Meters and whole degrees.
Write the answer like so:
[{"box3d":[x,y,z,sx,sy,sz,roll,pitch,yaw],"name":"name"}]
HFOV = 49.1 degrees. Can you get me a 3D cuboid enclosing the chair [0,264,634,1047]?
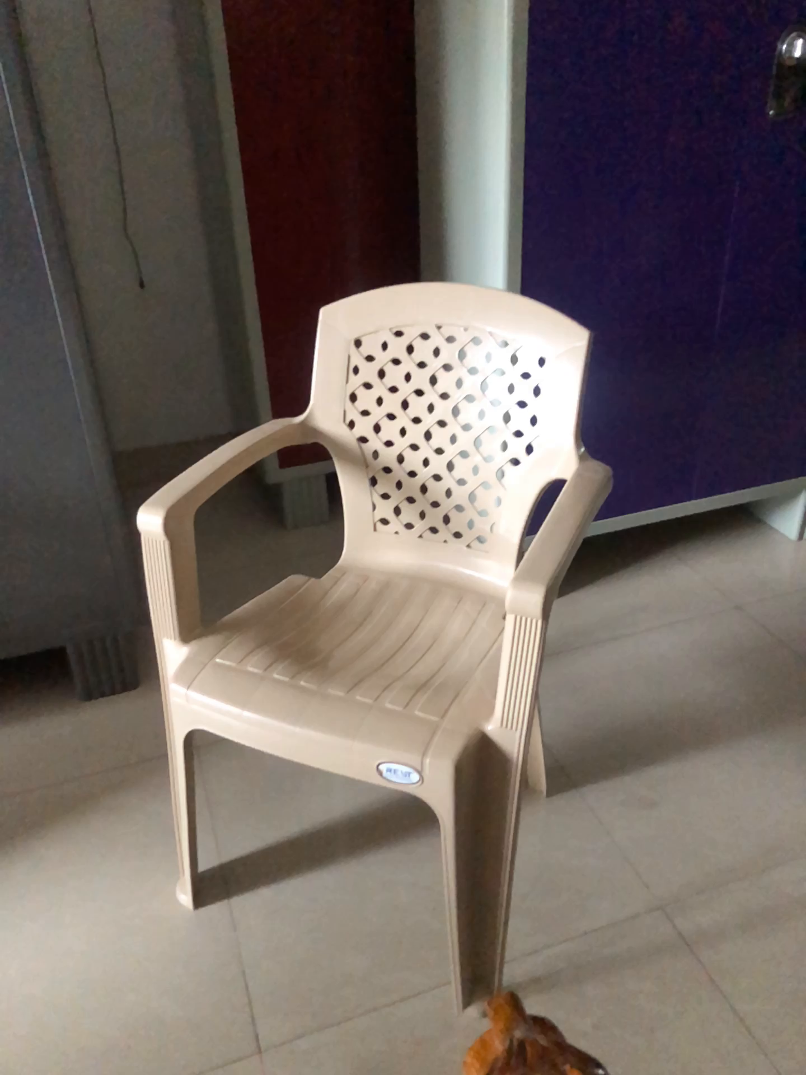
[{"box3d":[-0.040,0.107,1.215,0.540,0.796,0.563,10,32,22],"name":"chair"}]
